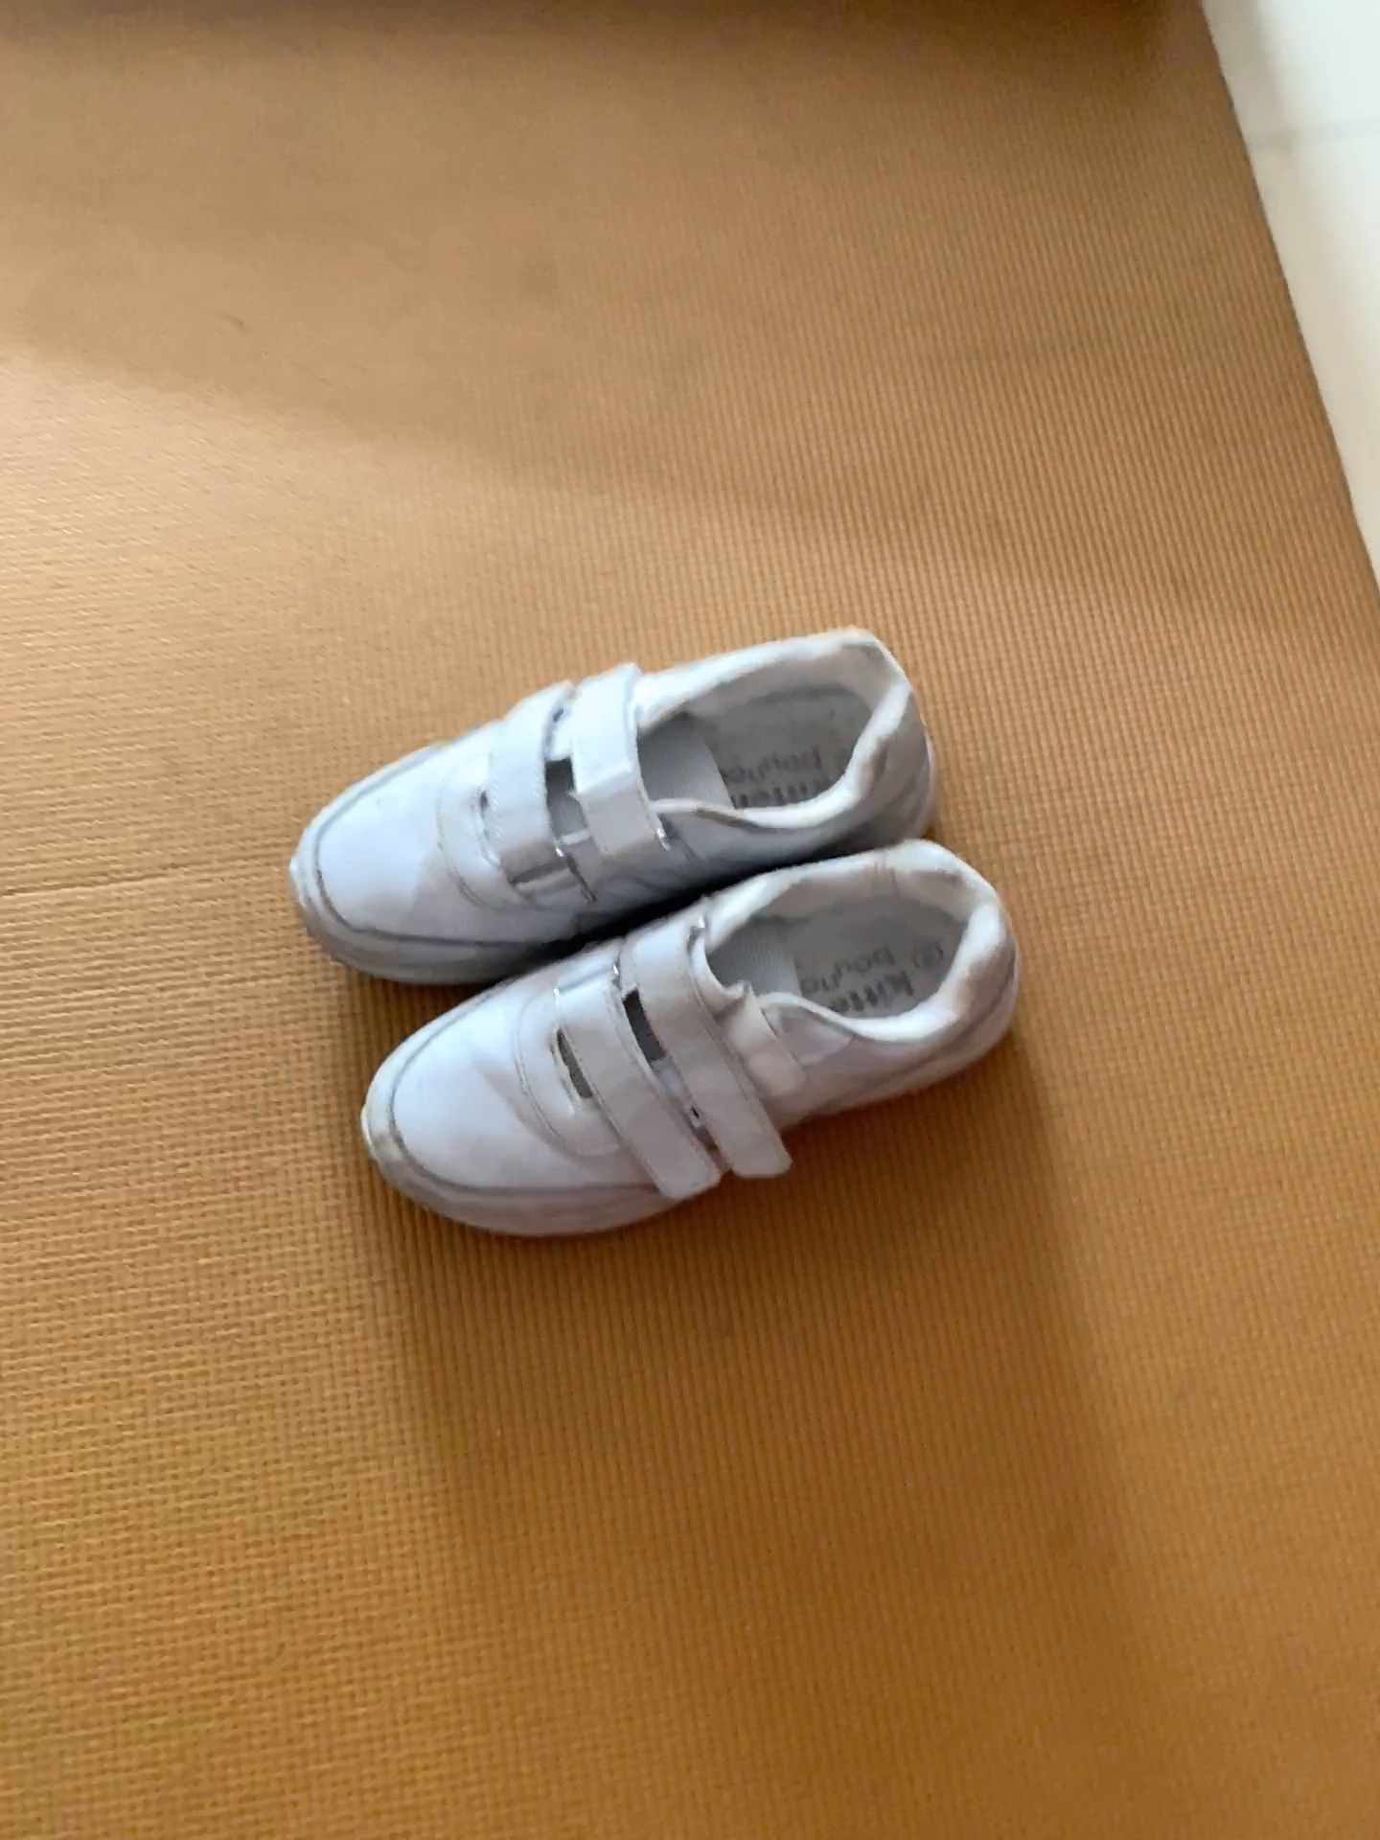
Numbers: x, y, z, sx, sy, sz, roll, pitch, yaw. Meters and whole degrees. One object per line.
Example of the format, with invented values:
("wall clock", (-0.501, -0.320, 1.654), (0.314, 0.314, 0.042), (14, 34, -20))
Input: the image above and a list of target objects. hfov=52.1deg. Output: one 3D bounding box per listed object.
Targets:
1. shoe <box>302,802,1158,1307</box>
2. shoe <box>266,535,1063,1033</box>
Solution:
("shoe", (0.012, 0.045, 0.470), (0.250, 0.070, 0.090), (-16, 78, -7))
("shoe", (-0.009, -0.044, 0.501), (0.240, 0.100, 0.090), (-16, 78, -7))
